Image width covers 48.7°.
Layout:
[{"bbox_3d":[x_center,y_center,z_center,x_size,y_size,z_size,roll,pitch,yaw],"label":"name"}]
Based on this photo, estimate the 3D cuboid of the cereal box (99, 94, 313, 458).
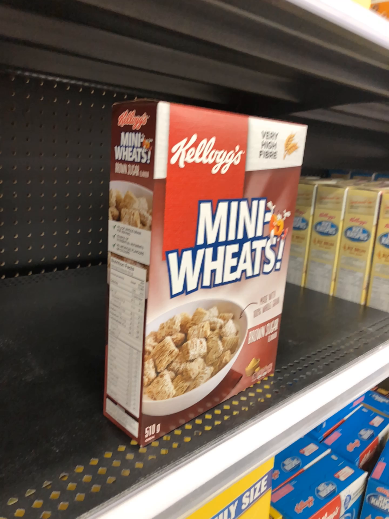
[{"bbox_3d":[0.015,0.006,0.407,0.060,0.279,0.200,17,18,42],"label":"cereal box"}]
